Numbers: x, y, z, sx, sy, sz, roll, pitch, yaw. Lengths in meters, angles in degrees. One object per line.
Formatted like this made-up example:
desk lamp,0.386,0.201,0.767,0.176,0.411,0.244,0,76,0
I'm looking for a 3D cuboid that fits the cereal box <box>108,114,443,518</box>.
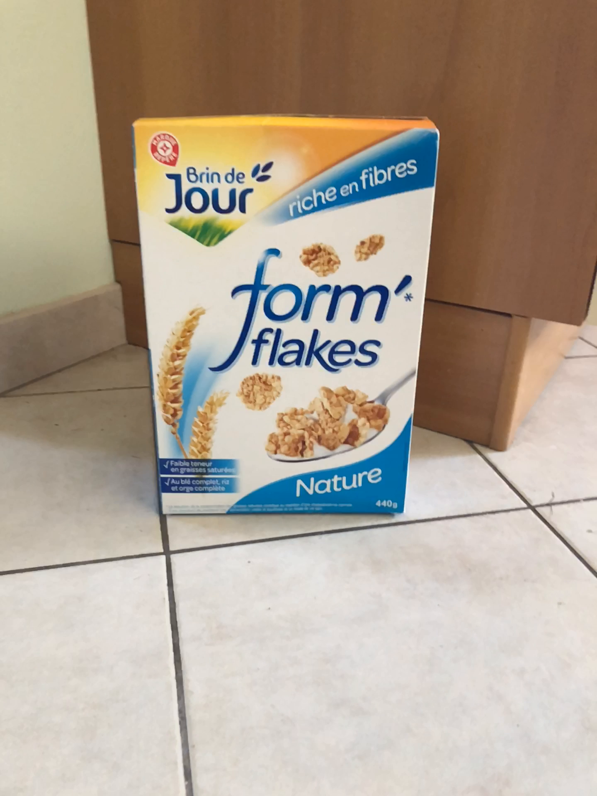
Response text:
cereal box,-0.018,-0.052,0.478,0.200,0.279,0.070,0,23,-3
